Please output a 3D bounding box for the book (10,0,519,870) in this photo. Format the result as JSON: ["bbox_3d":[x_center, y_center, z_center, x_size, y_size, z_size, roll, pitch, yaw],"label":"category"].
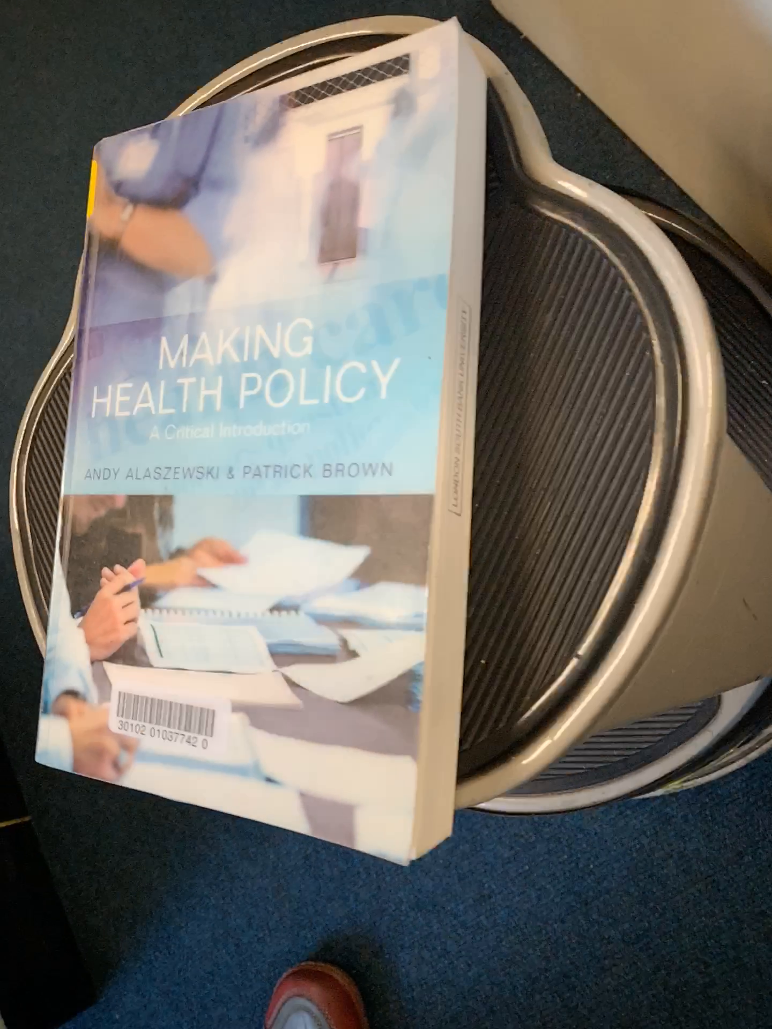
[{"bbox_3d":[-0.045,-0.030,0.265,0.161,0.030,0.240,1,82,31],"label":"book"}]
